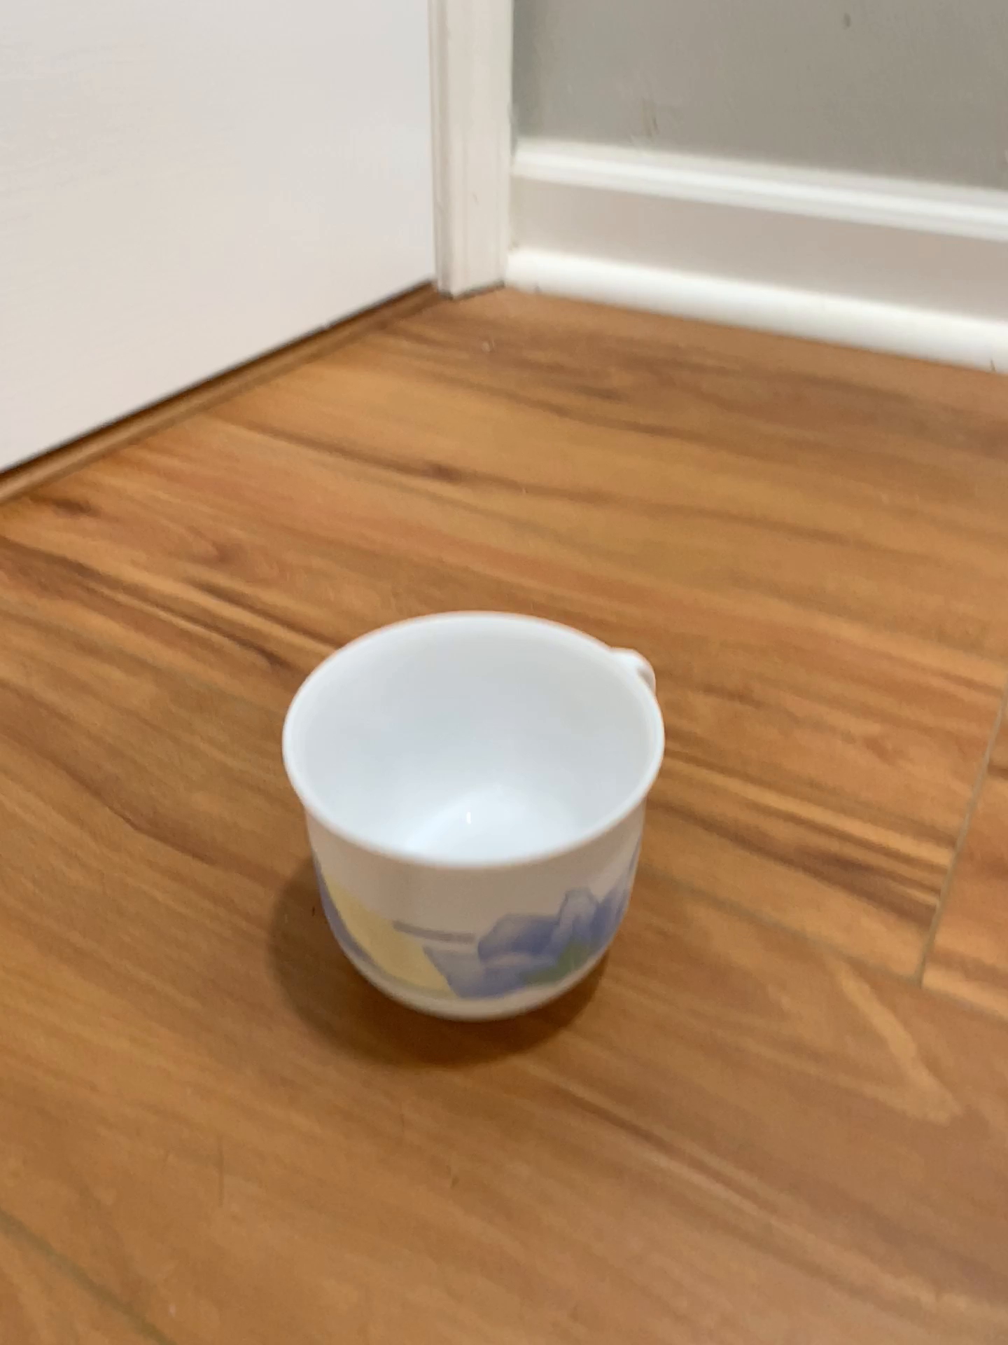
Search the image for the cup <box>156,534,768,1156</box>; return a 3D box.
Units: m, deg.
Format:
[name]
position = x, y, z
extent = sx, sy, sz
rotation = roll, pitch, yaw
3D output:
[cup]
position = -0.005, 0.029, 0.238
extent = 0.084, 0.063, 0.104
rotation = 23, 42, 28
